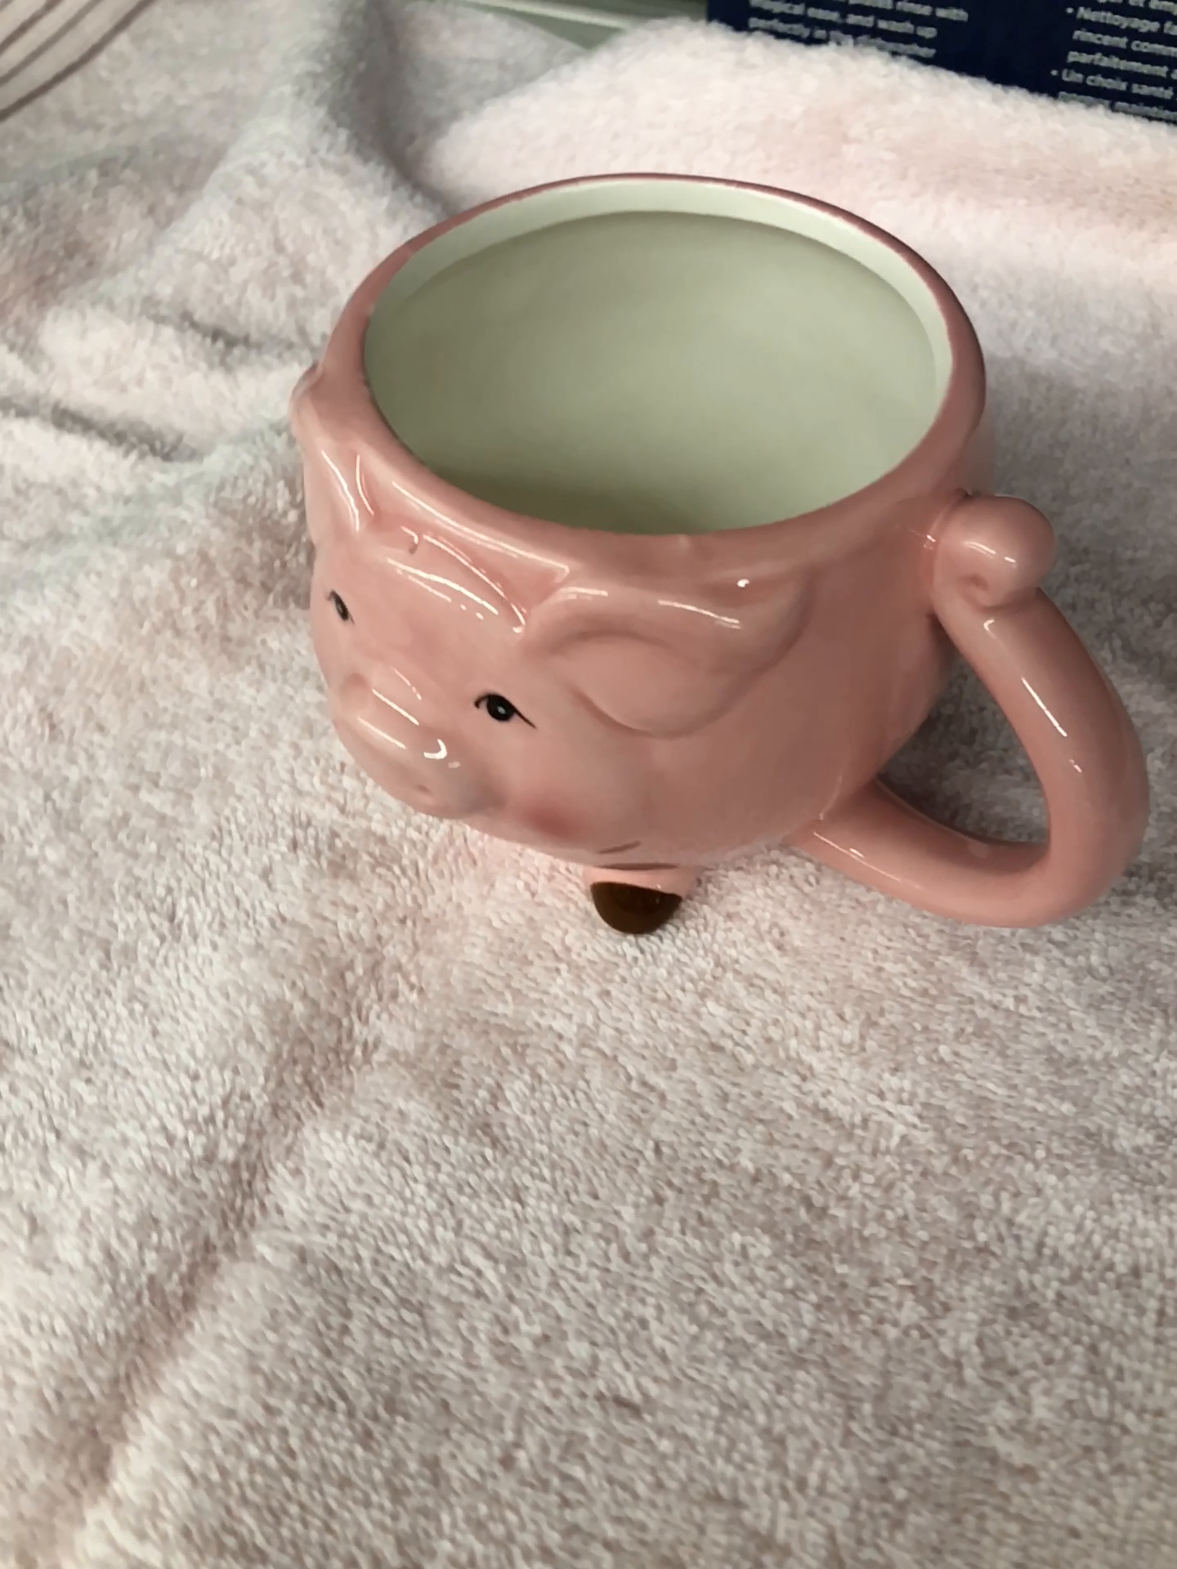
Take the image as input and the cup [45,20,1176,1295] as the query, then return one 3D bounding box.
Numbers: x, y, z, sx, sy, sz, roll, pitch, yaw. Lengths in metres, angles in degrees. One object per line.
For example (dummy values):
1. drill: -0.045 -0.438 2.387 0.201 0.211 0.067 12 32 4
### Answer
1. cup: 0.019 -0.026 0.197 0.150 0.090 0.100 36 64 24
